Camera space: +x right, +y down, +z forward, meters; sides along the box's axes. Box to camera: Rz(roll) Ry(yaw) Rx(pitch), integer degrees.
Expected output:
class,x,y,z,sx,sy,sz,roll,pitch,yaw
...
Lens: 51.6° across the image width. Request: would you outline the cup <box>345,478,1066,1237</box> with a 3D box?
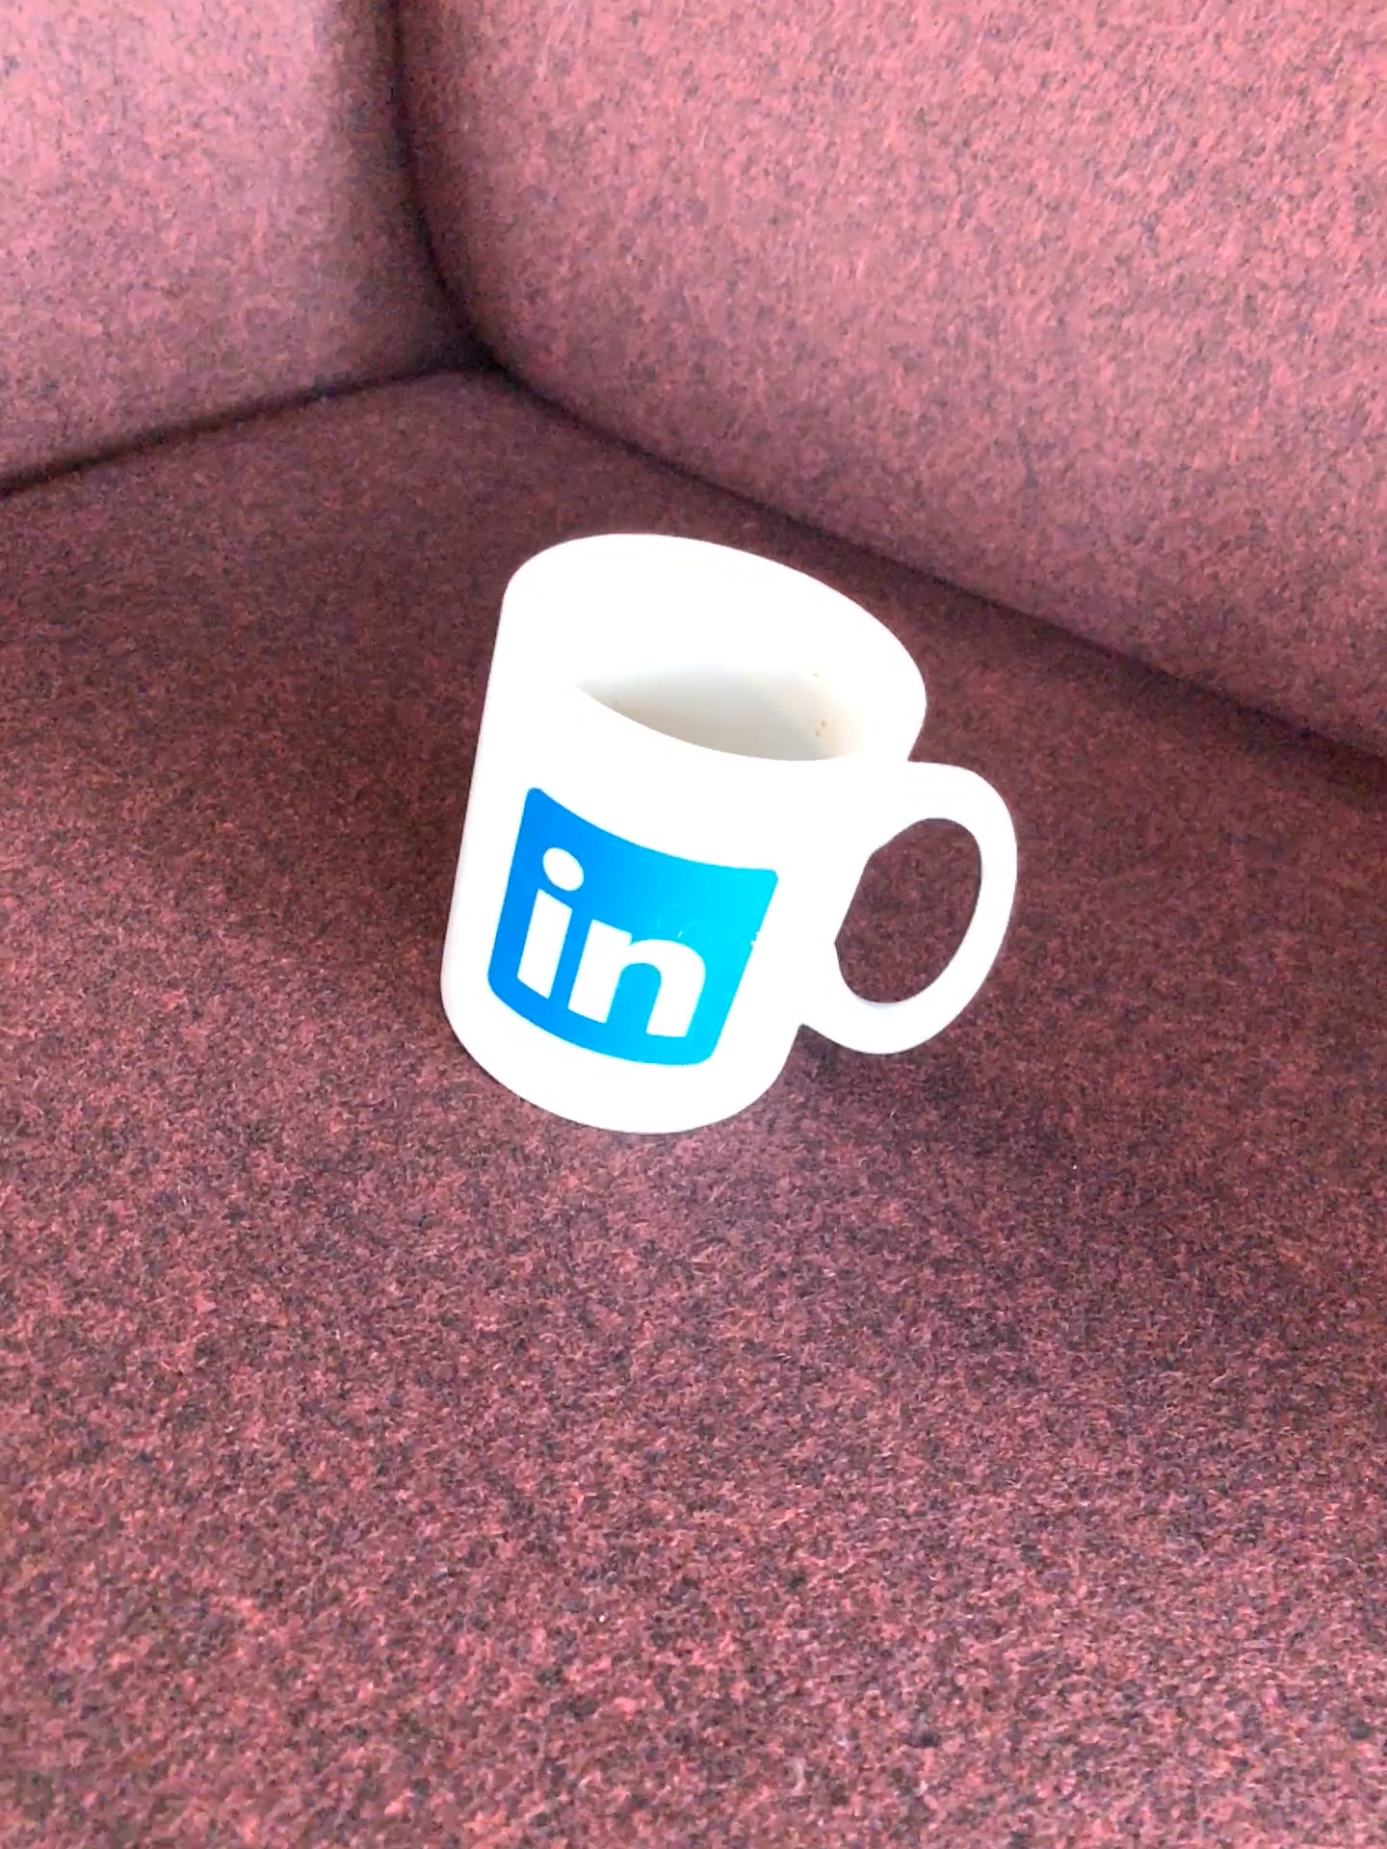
class,x,y,z,sx,sy,sz,roll,pitch,yaw
cup,0.001,-0.015,0.270,0.104,0.089,0.075,18,38,7
